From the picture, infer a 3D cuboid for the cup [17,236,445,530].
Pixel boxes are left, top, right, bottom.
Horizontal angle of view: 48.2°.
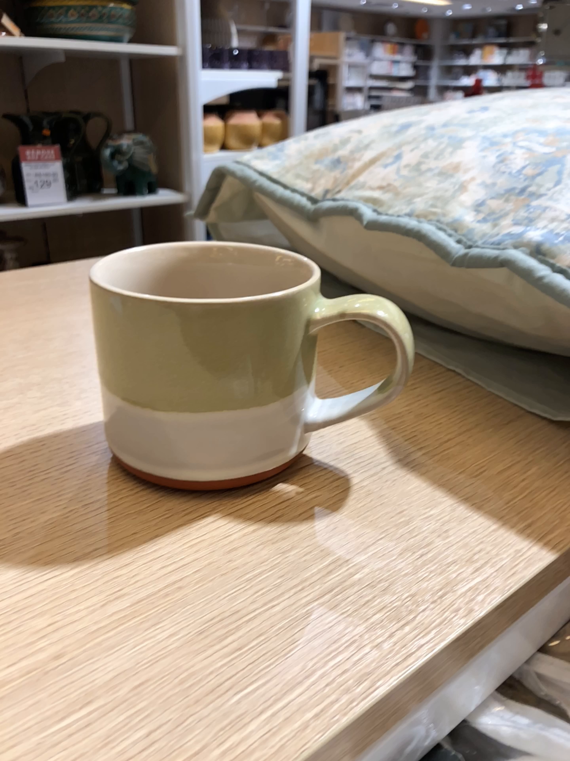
[{"bbox_3d":[-0.015,-0.007,0.267,0.140,0.079,0.101,4,24,5],"label":"cup"}]
